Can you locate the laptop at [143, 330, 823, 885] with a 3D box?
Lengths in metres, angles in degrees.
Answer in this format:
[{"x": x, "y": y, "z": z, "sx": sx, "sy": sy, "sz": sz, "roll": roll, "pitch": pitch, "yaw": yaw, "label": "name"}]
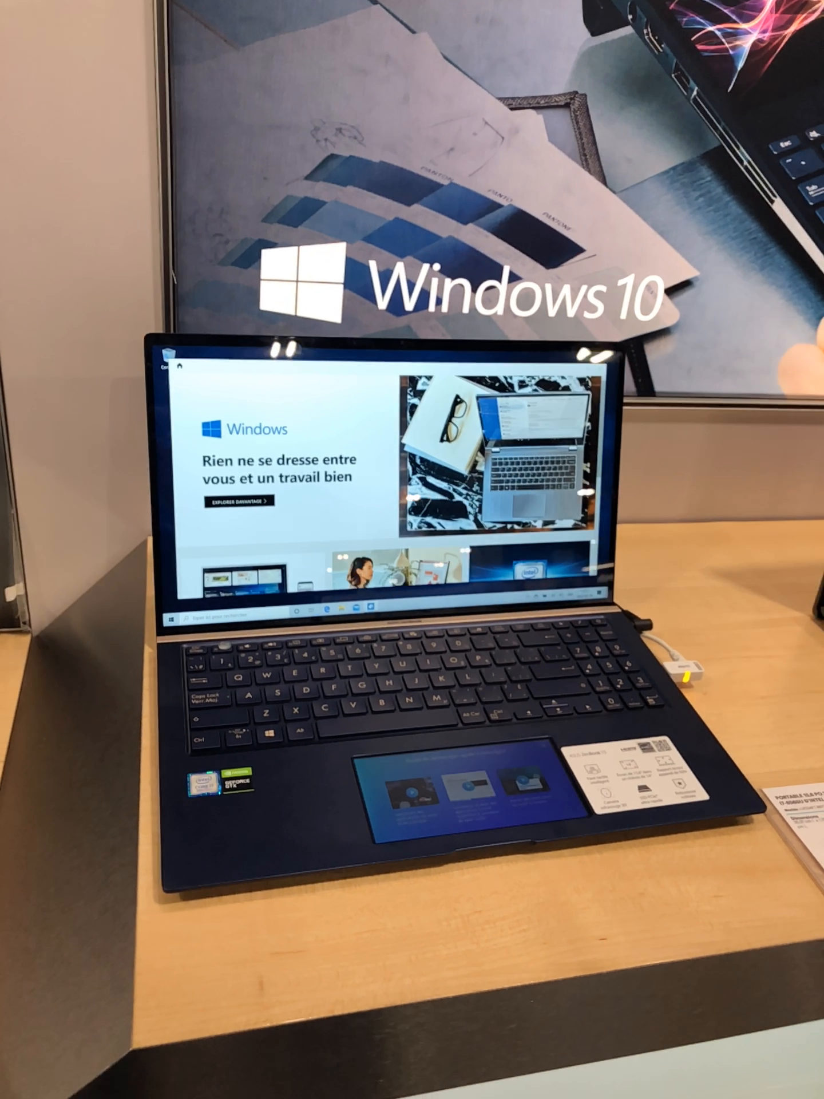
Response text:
[{"x": 0.017, "y": 0.007, "z": 0.553, "sx": 0.338, "sy": 0.183, "sz": 0.274, "roll": -2, "pitch": 31, "yaw": -16, "label": "laptop"}]
